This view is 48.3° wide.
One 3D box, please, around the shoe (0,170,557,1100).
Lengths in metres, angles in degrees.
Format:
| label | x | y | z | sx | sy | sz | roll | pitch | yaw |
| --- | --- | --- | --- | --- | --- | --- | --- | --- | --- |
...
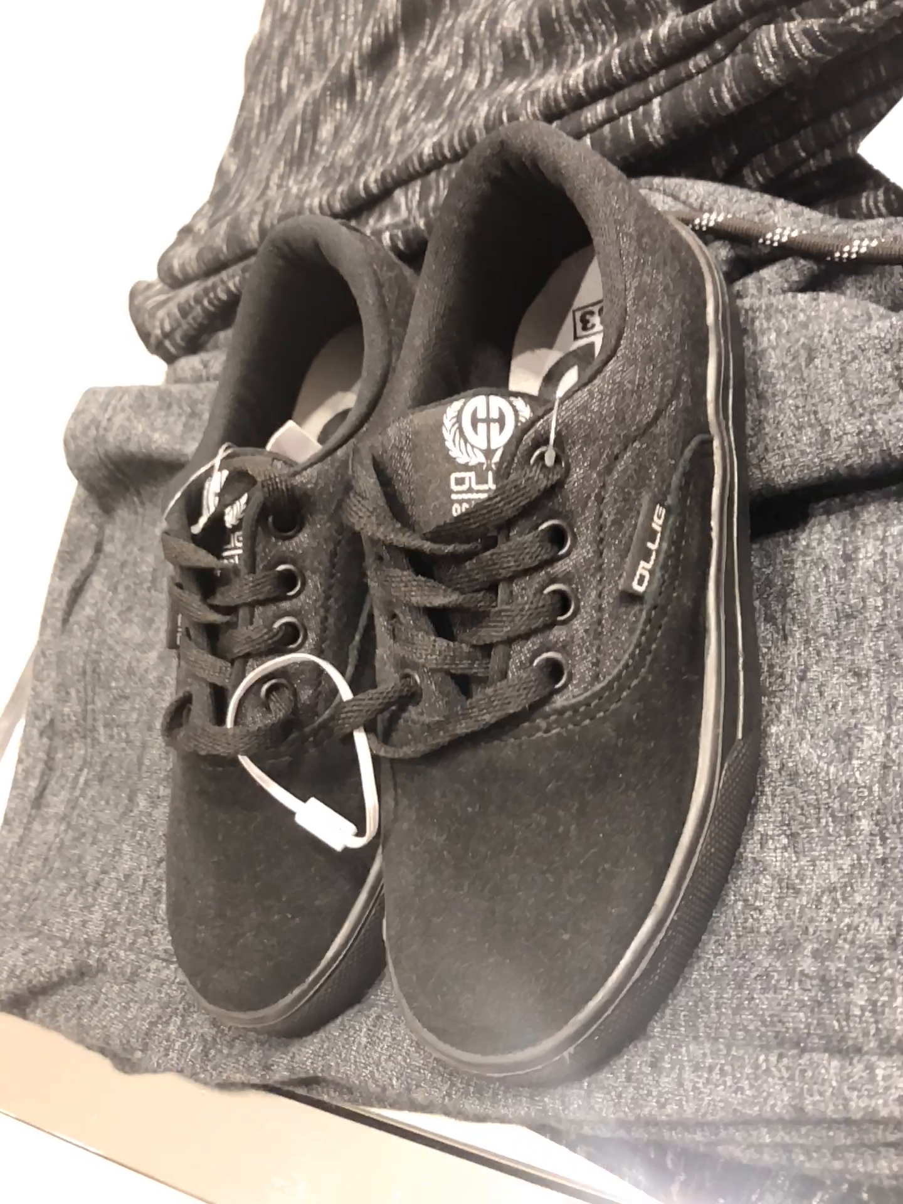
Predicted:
| label | x | y | z | sx | sy | sz | roll | pitch | yaw |
| --- | --- | --- | --- | --- | --- | --- | --- | --- | --- |
| shoe | -0.049 | 0.004 | 0.277 | 0.090 | 0.080 | 0.220 | 4 | 69 | 31 |

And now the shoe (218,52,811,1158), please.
| label | x | y | z | sx | sy | sz | roll | pitch | yaw |
| --- | --- | --- | --- | --- | --- | --- | --- | --- | --- |
| shoe | 0.031 | -0.006 | 0.256 | 0.090 | 0.080 | 0.240 | -1 | 67 | 29 |
